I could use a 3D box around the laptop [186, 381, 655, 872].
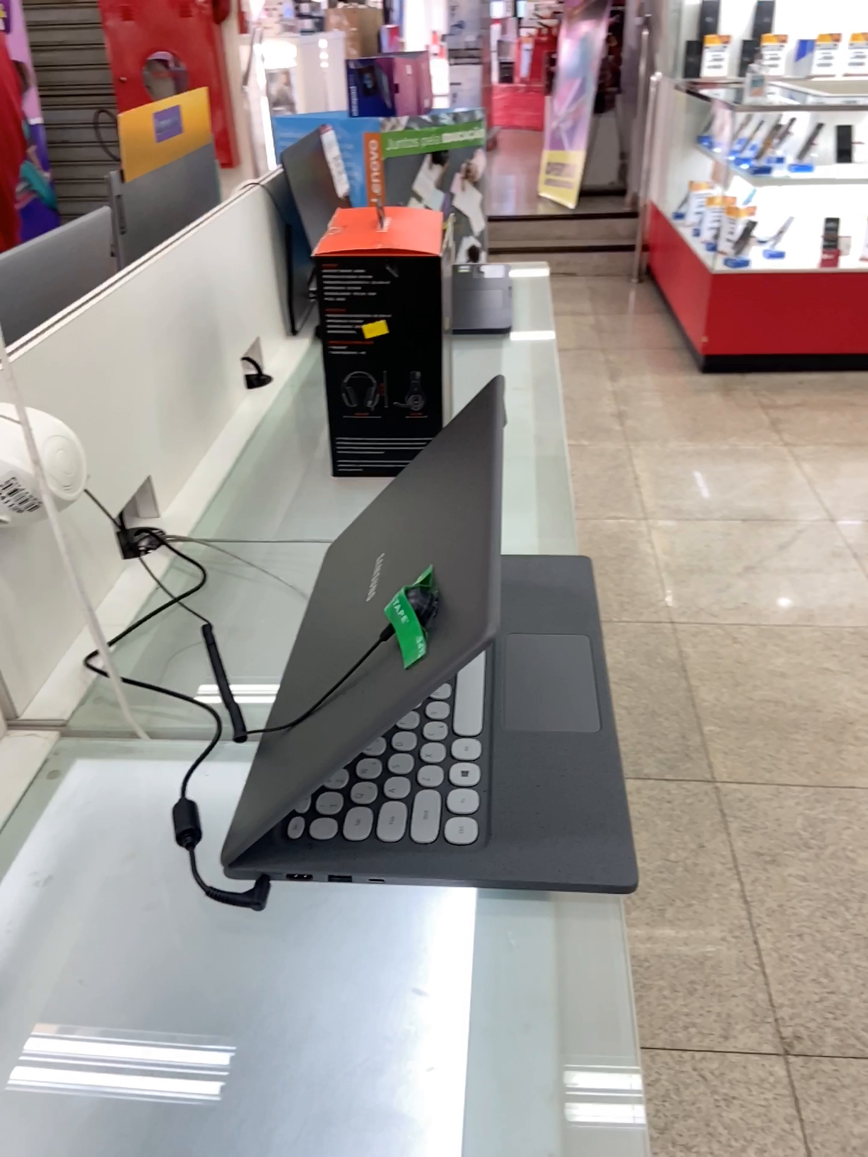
[{"bbox_3d":[0.006,0.003,0.563,0.207,0.153,0.313,0,32,5],"label":"laptop"}]
